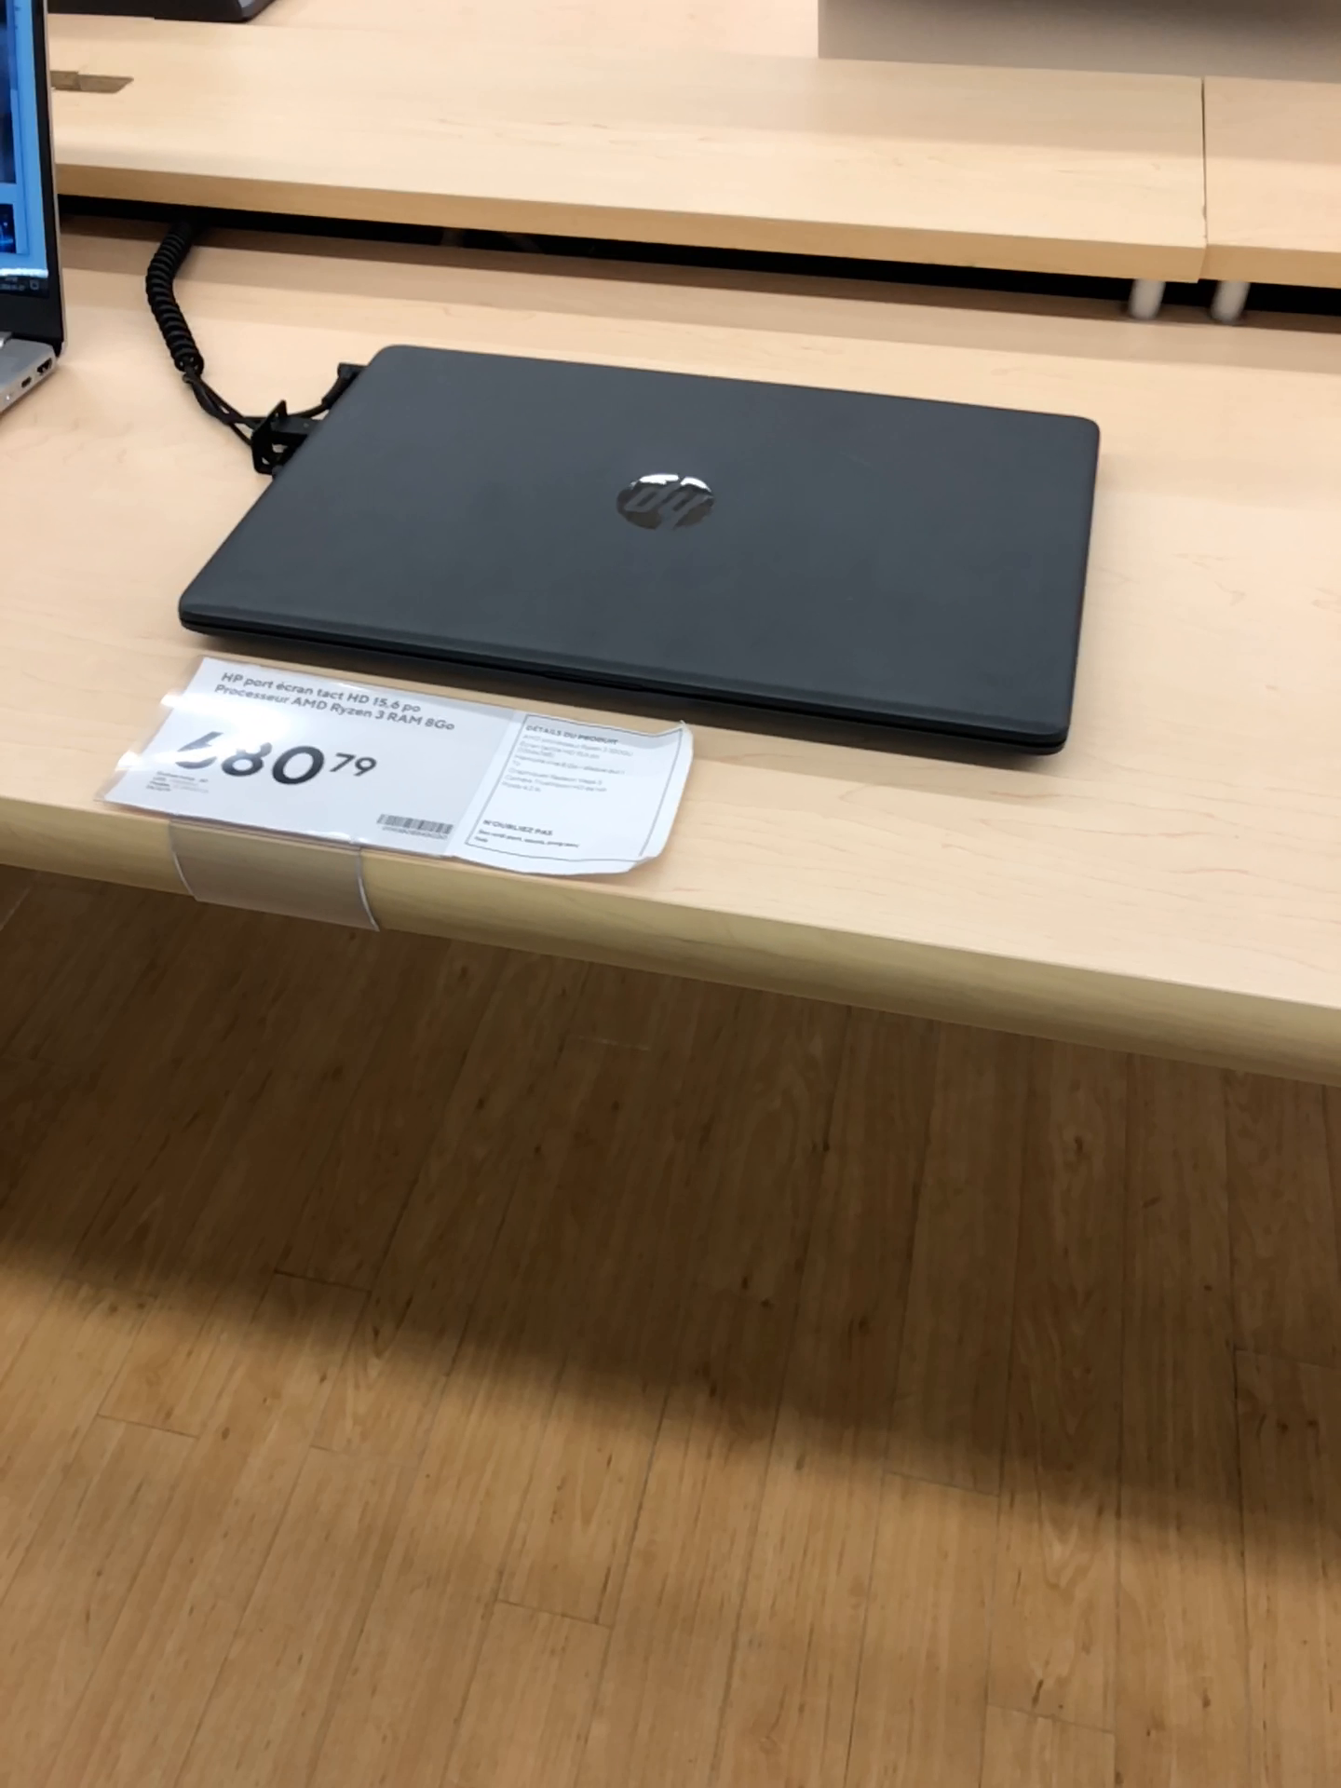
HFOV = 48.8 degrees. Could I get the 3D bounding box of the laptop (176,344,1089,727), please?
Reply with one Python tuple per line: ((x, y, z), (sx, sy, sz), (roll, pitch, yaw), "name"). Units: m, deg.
((-0.002, -0.182, 0.692), (0.374, 0.005, 0.245), (10, 47, 10), "laptop")
